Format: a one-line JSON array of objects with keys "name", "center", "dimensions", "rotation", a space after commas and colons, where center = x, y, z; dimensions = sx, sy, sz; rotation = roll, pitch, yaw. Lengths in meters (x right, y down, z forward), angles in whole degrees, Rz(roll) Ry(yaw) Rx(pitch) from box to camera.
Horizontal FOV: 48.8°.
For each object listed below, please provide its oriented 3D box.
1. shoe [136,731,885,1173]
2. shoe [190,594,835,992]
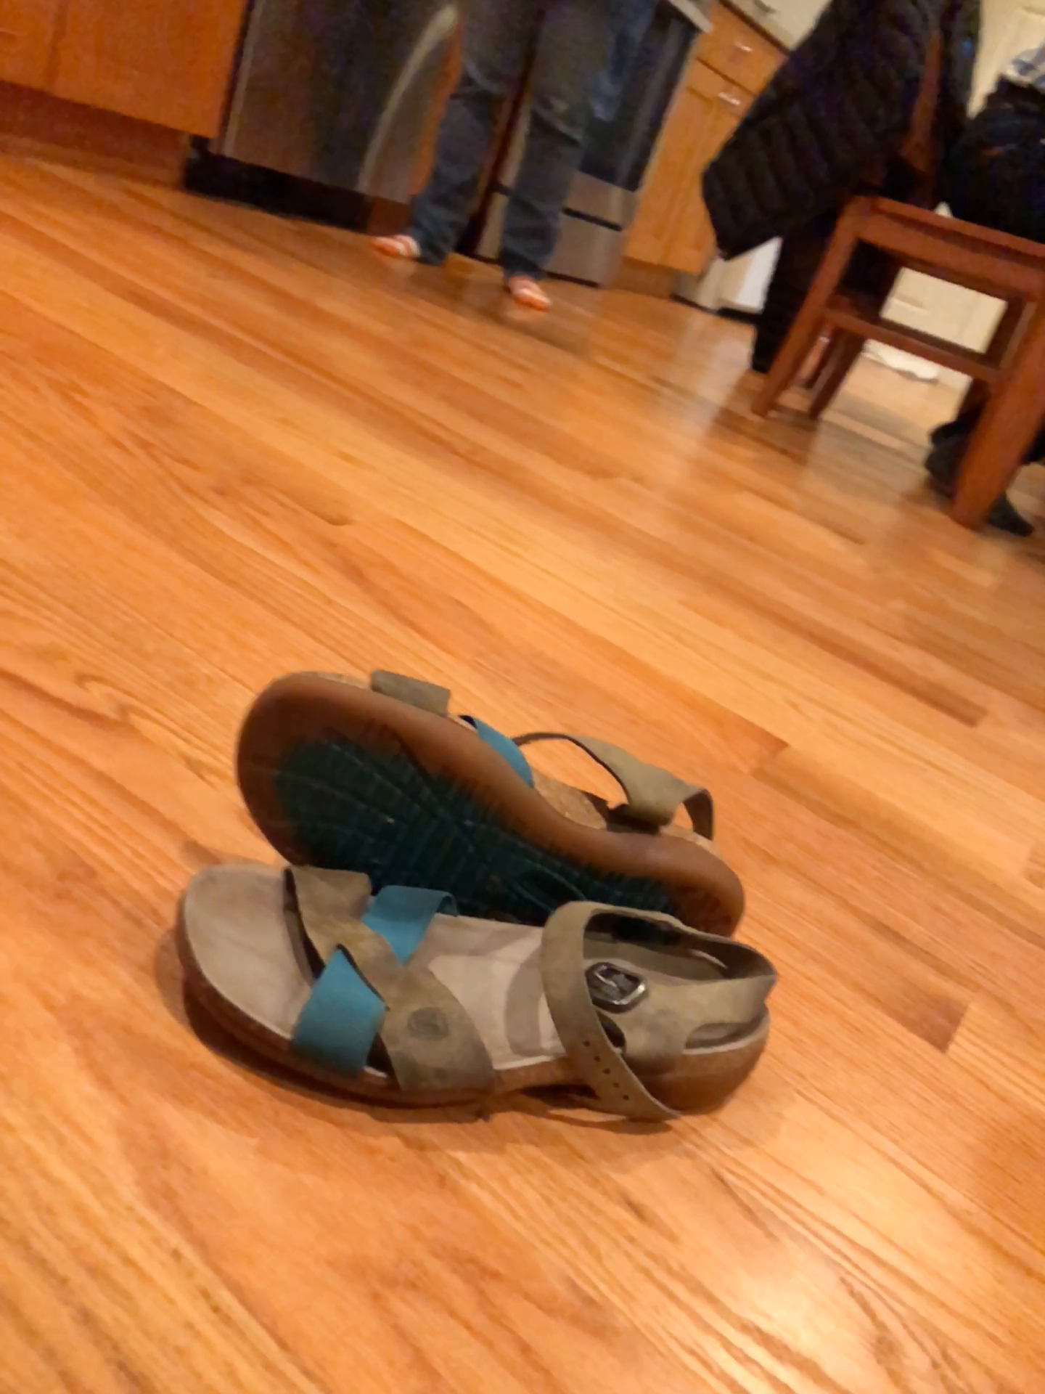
[{"name": "shoe", "center": [-0.006, 0.095, 0.428], "dimensions": [0.240, 0.075, 0.105], "rotation": [13, 25, -17]}, {"name": "shoe", "center": [-0.005, 0.045, 0.484], "dimensions": [0.238, 0.104, 0.065], "rotation": [13, 25, -17]}]
